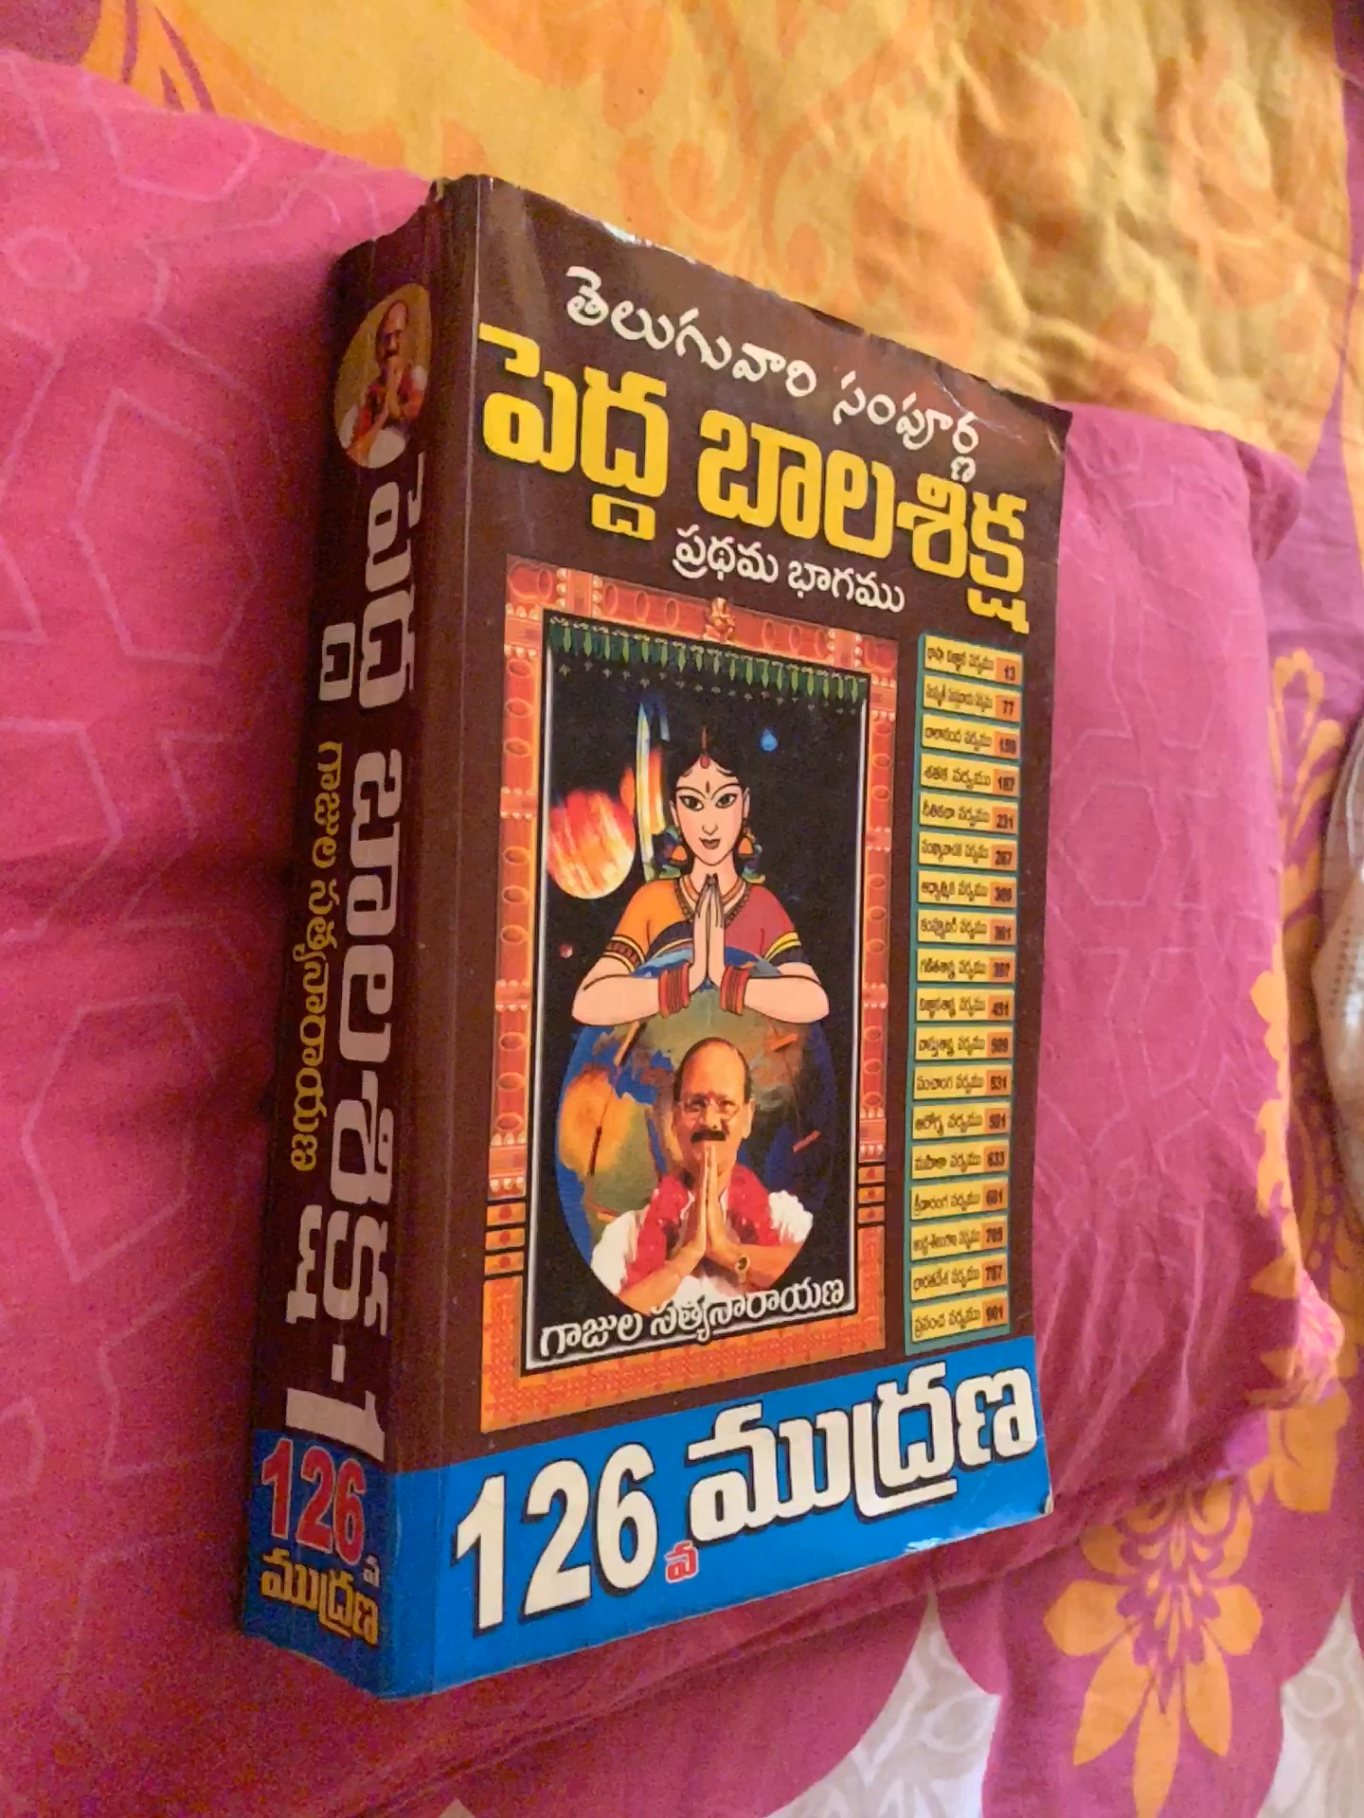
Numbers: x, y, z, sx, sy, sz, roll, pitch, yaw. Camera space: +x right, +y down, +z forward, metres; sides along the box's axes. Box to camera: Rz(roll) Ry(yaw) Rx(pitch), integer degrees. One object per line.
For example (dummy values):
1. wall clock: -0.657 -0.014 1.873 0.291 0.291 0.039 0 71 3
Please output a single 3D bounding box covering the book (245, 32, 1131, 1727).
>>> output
1. book: 0.014 -0.004 0.288 0.181 0.050 0.260 4 85 -36
